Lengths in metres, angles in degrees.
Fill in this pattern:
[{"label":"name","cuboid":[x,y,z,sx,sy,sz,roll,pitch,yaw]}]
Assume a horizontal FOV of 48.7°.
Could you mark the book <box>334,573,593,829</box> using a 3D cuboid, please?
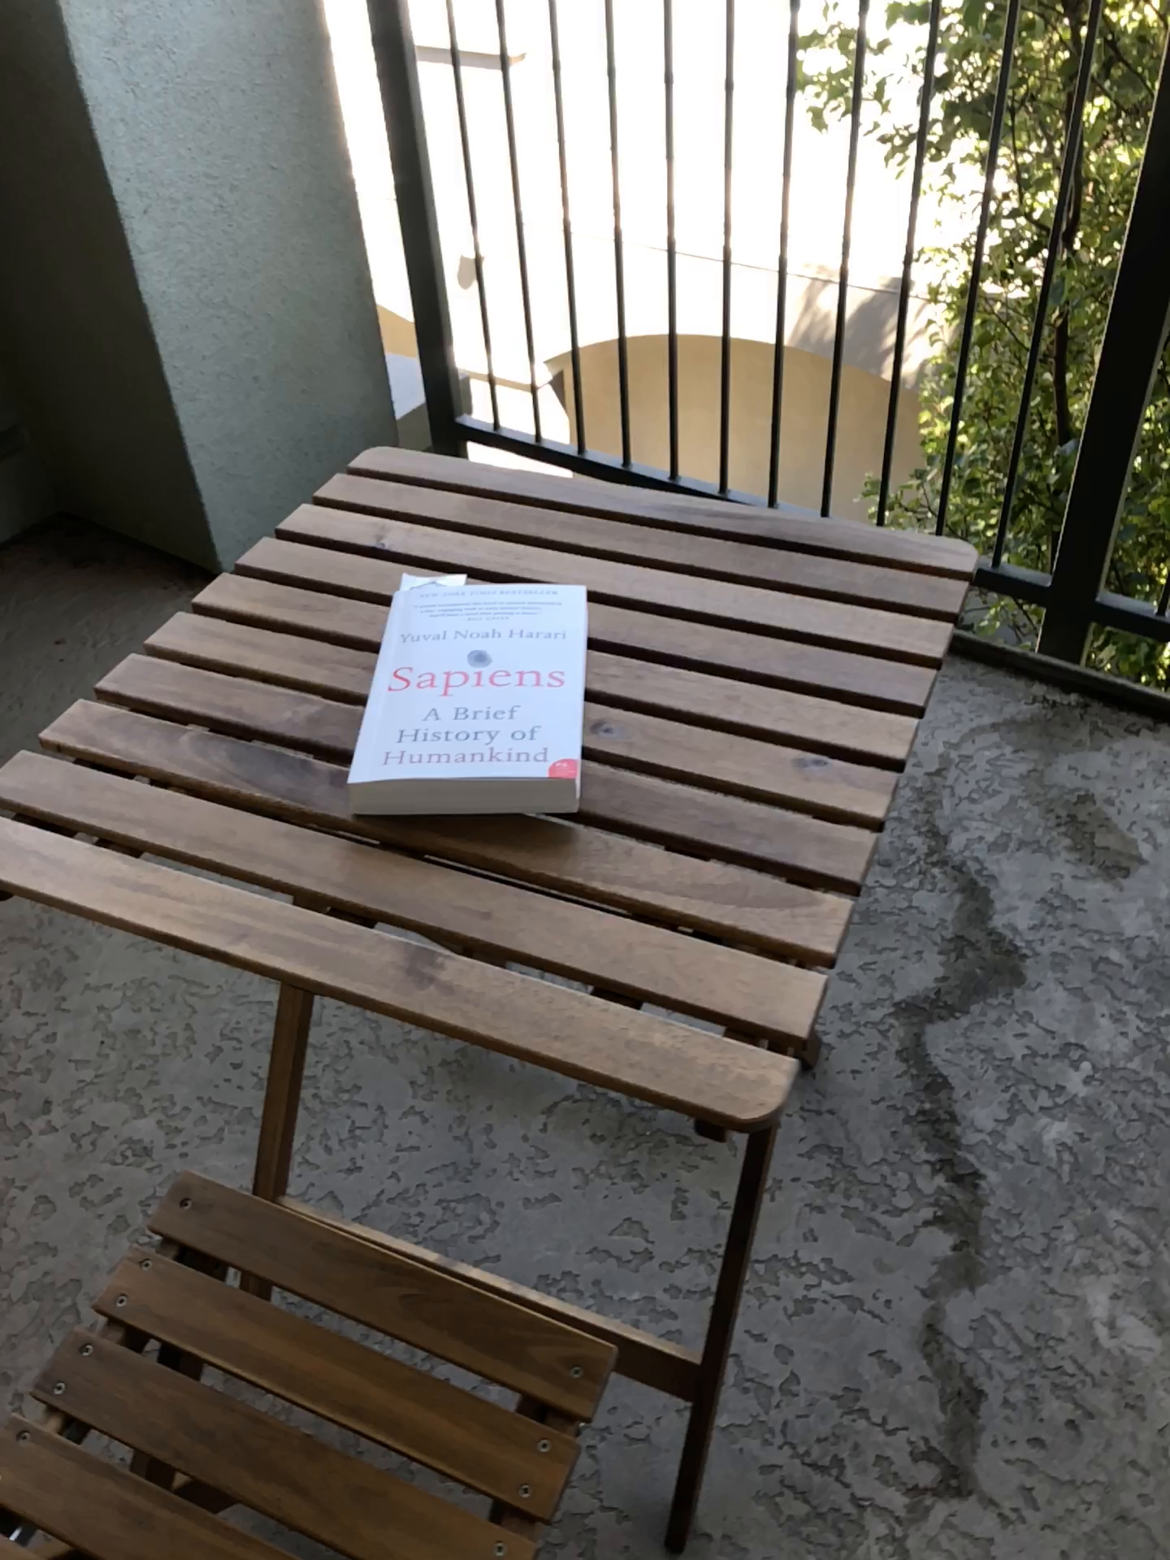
[{"label":"book","cuboid":[-0.078,-0.064,0.936,0.160,0.040,0.241,-1,42,3]}]
